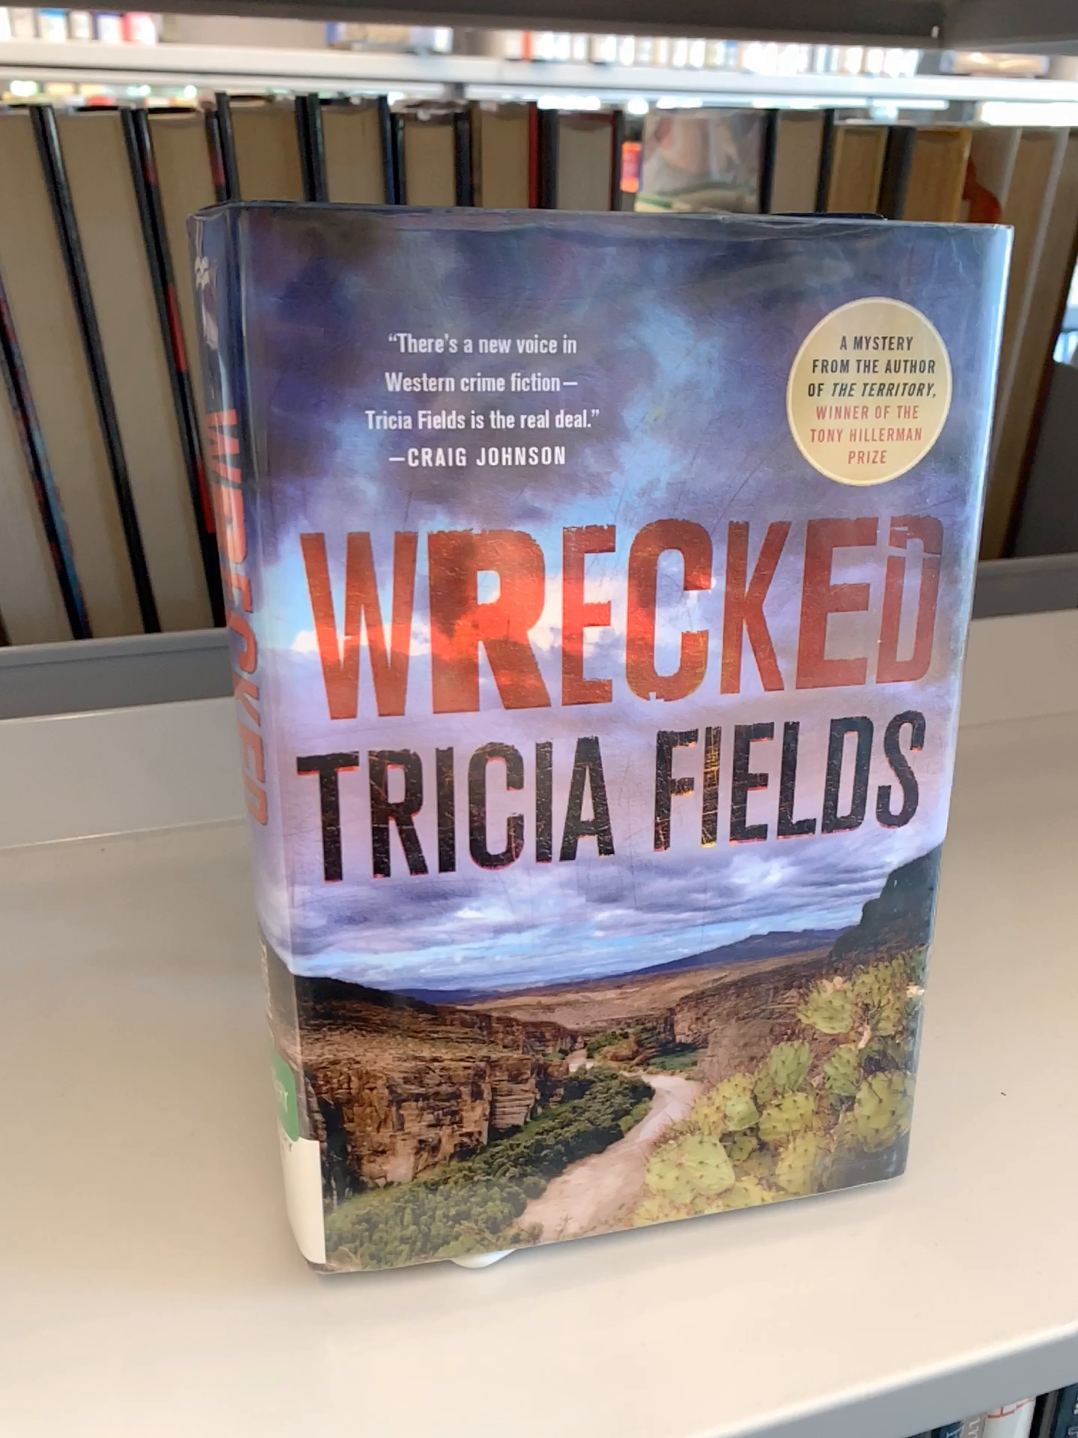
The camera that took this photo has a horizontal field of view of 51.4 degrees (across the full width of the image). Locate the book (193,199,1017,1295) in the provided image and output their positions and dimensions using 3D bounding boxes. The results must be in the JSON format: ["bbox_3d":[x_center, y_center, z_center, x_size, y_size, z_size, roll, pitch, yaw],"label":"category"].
[{"bbox_3d":[0.015,0.009,0.239,0.146,0.213,0.035,-5,18,-13],"label":"book"}]
